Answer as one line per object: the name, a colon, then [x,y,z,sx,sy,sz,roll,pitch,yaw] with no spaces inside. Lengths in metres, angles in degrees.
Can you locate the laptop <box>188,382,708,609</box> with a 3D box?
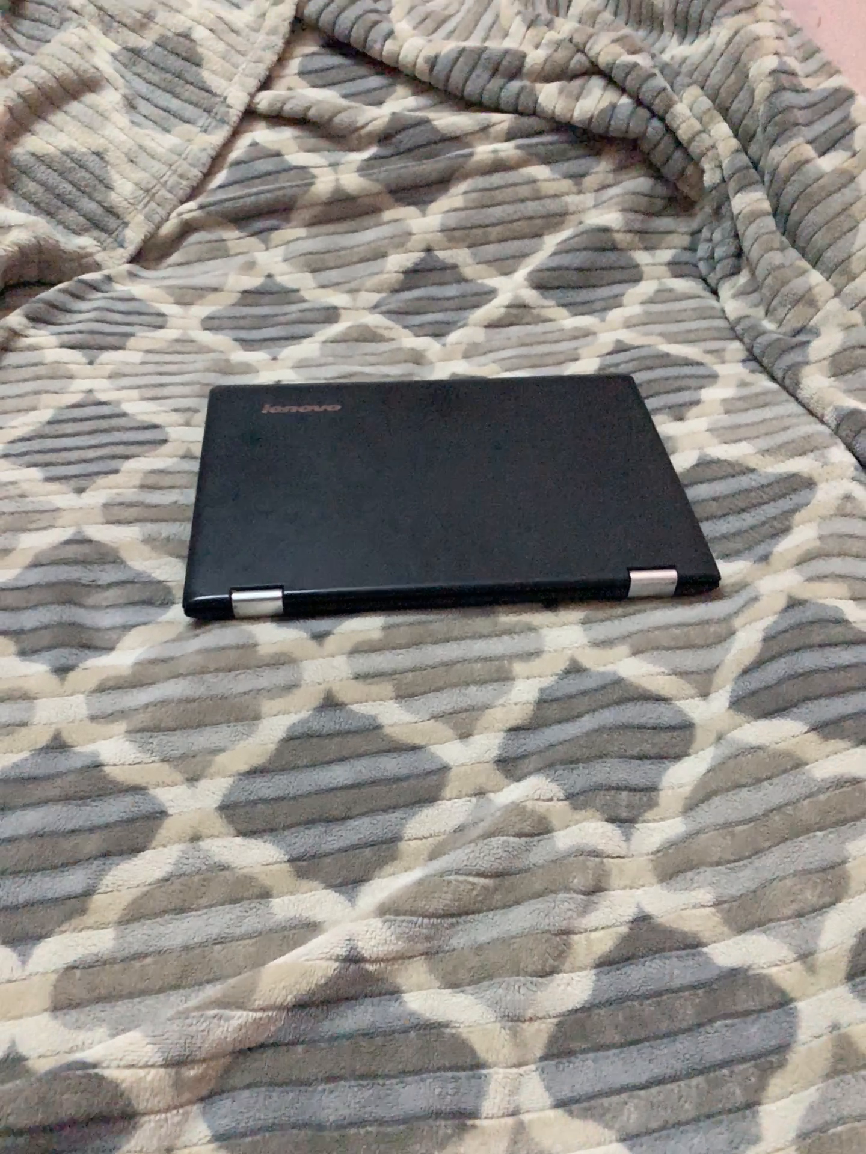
laptop: [0.005,-0.072,0.652,0.338,0.003,0.229,-3,47,-5]
